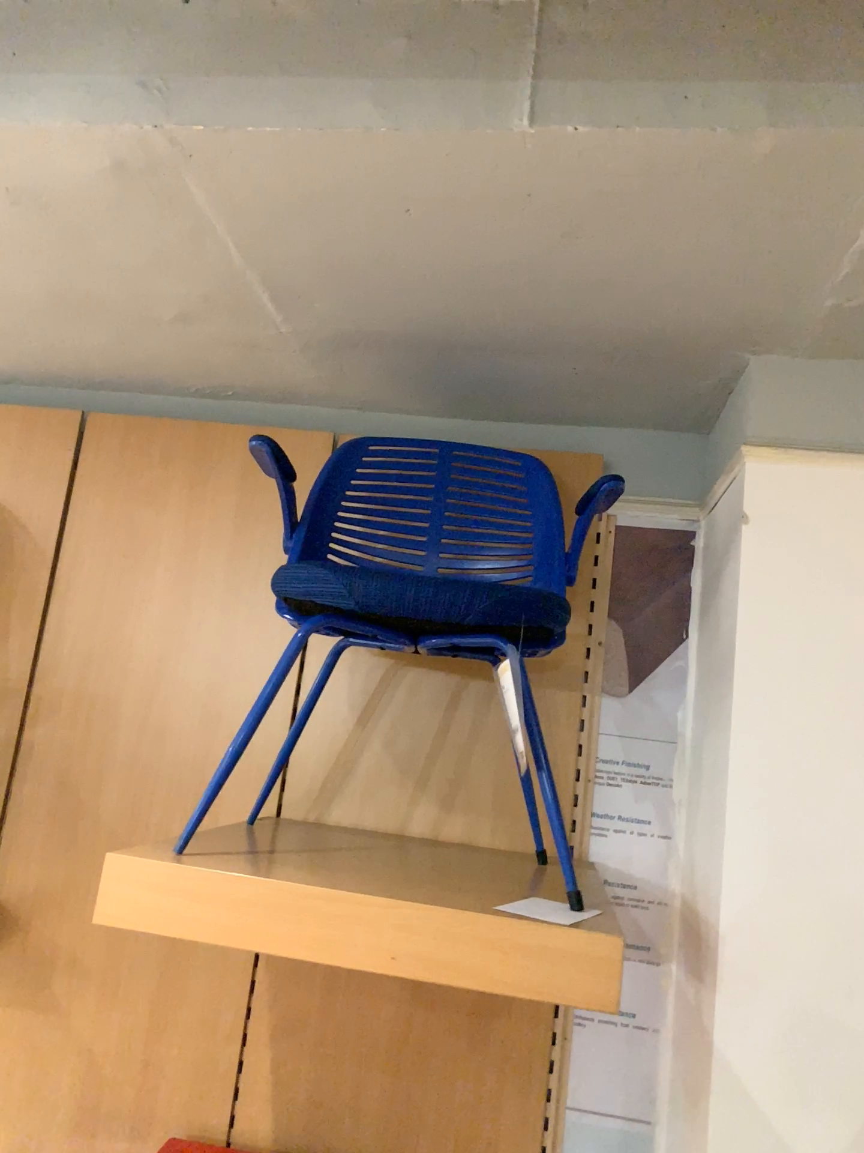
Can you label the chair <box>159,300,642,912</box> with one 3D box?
[{"bbox_3d":[-0.017,0.058,1.485,0.570,0.792,0.549,7,-10,4],"label":"chair"}]
